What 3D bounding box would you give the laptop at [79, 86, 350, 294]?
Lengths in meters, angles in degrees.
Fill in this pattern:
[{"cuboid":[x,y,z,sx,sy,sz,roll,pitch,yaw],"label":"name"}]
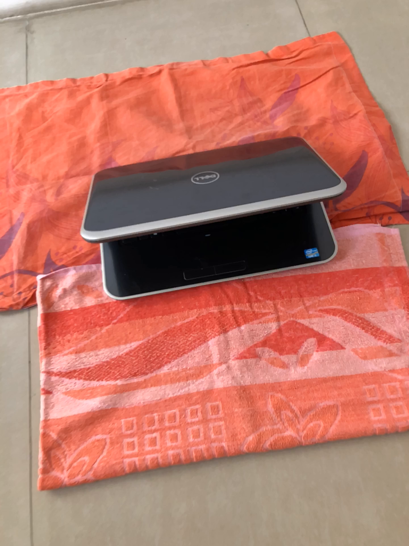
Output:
[{"cuboid":[0.003,-0.129,0.700,0.345,0.129,0.242,-10,63,-2],"label":"laptop"}]
